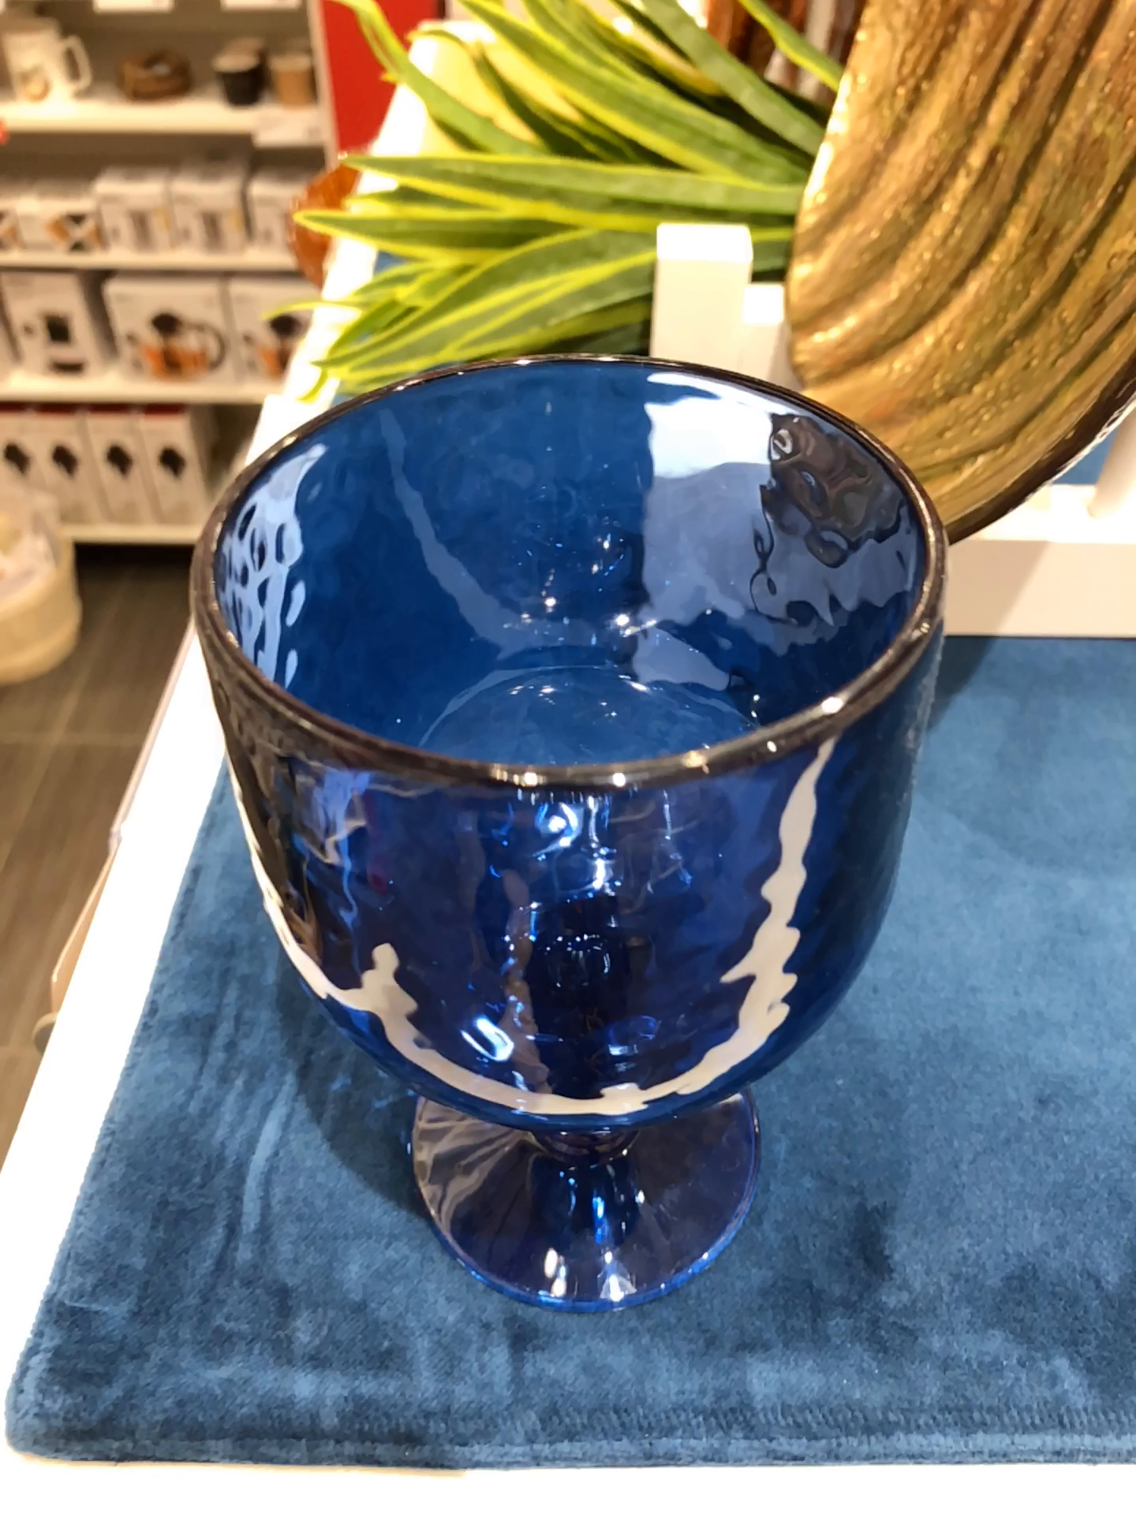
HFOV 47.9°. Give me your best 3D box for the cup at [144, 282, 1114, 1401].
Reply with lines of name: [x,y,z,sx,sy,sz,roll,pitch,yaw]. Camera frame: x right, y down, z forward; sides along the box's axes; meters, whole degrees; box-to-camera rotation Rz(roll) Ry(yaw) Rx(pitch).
cup: [0.000,0.019,0.192,0.090,0.140,0.080,-10,46,-9]
